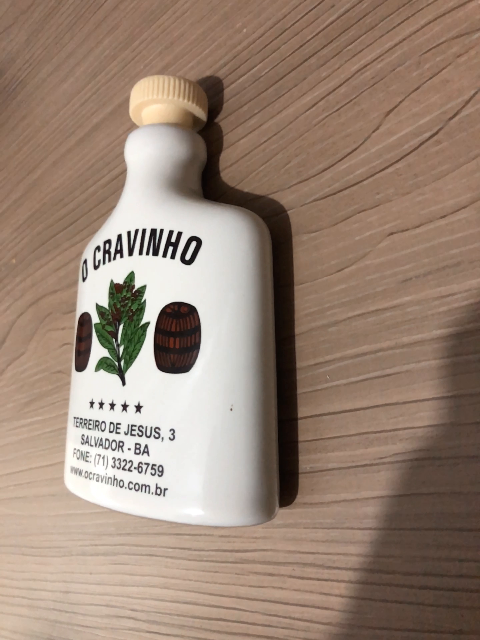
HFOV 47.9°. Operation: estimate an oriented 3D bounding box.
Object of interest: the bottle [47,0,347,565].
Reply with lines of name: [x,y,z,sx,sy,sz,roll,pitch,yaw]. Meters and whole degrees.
bottle: [-0.019,-0.017,0.184,0.101,0.040,0.160,-5,82,42]
